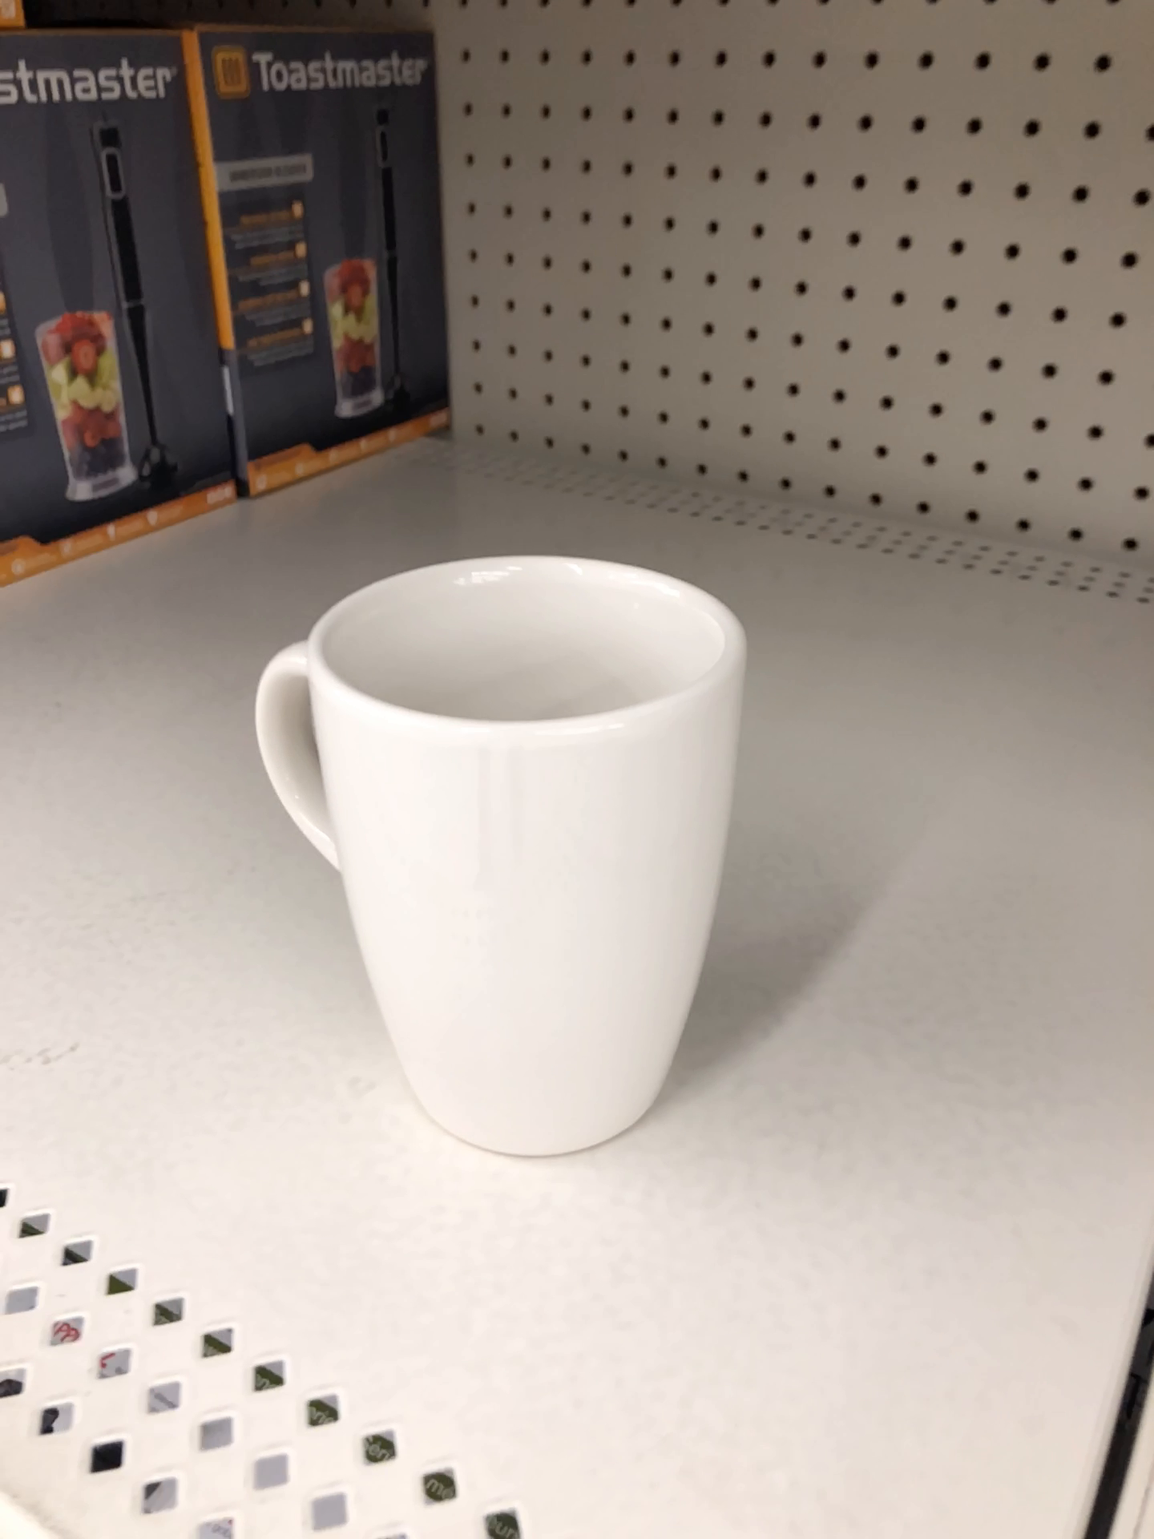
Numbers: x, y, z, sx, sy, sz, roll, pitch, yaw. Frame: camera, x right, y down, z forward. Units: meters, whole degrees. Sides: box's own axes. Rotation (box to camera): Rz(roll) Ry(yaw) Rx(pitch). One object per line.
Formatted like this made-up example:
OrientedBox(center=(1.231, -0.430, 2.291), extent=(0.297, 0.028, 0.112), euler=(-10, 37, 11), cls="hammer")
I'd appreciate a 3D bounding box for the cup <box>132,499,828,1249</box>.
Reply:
OrientedBox(center=(-0.023, 0.013, 0.290), extent=(0.126, 0.105, 0.081), euler=(25, 38, 37), cls="cup")
